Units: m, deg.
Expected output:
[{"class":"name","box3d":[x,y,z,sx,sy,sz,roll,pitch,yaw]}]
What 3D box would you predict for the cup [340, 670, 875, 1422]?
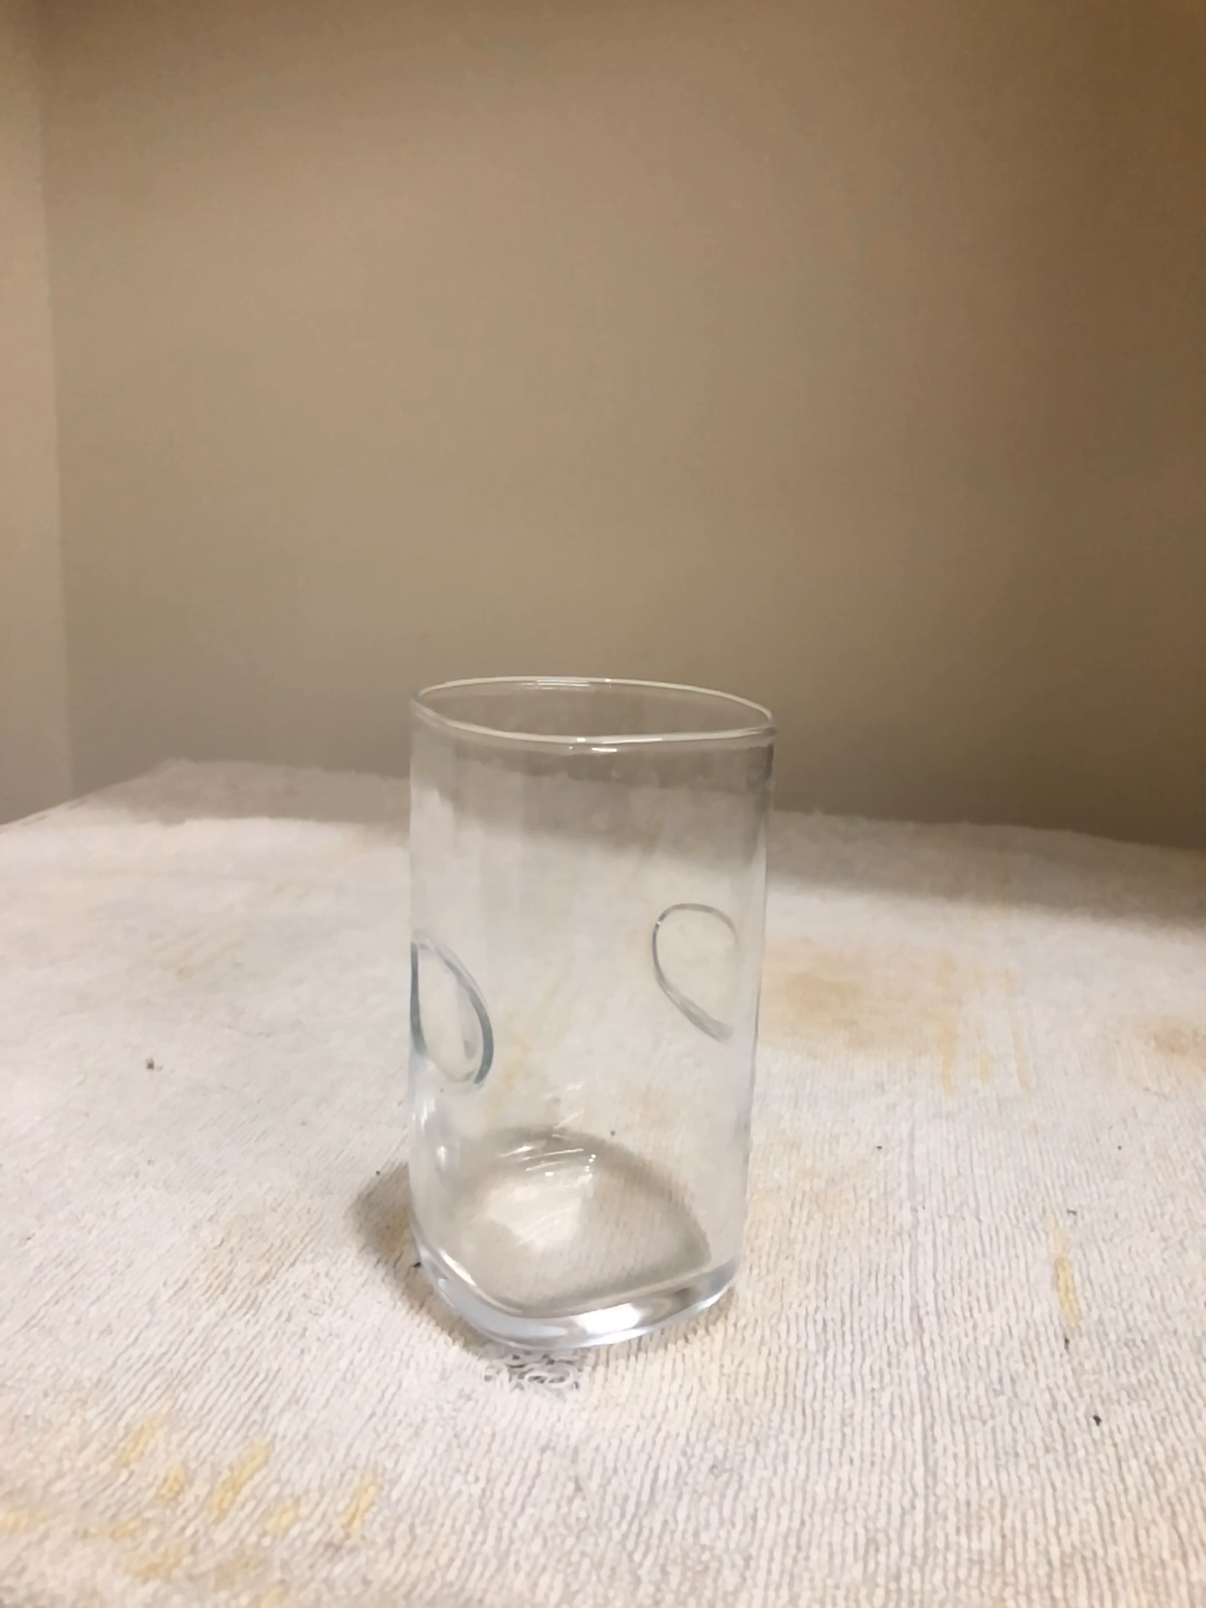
[{"class":"cup","box3d":[-0.004,0.035,0.249,0.070,0.110,0.070,2,12,0]}]
